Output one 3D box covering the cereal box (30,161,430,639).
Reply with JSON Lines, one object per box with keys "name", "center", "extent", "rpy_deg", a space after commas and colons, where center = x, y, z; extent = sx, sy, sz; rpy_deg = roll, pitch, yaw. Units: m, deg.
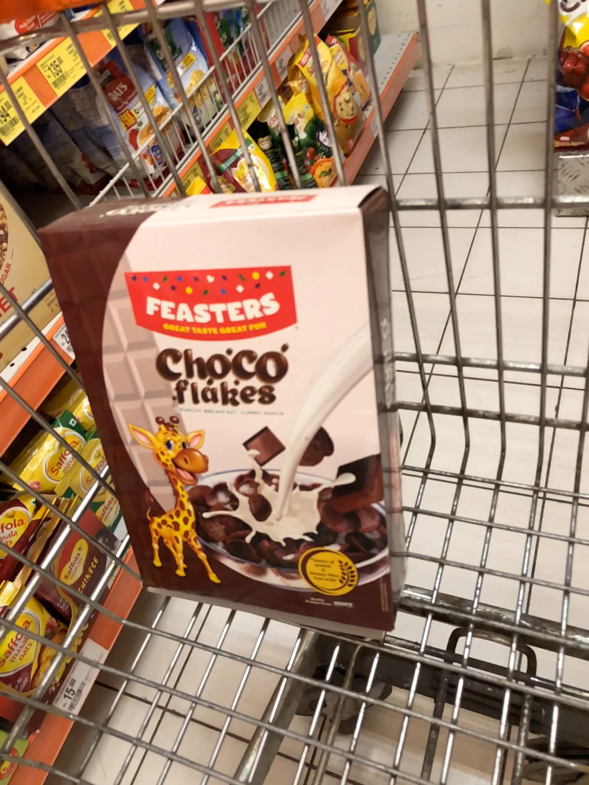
{"name": "cereal box", "center": [-0.021, 0.009, 0.362], "extent": [0.170, 0.239, 0.070], "rpy_deg": [2, 27, 21]}
